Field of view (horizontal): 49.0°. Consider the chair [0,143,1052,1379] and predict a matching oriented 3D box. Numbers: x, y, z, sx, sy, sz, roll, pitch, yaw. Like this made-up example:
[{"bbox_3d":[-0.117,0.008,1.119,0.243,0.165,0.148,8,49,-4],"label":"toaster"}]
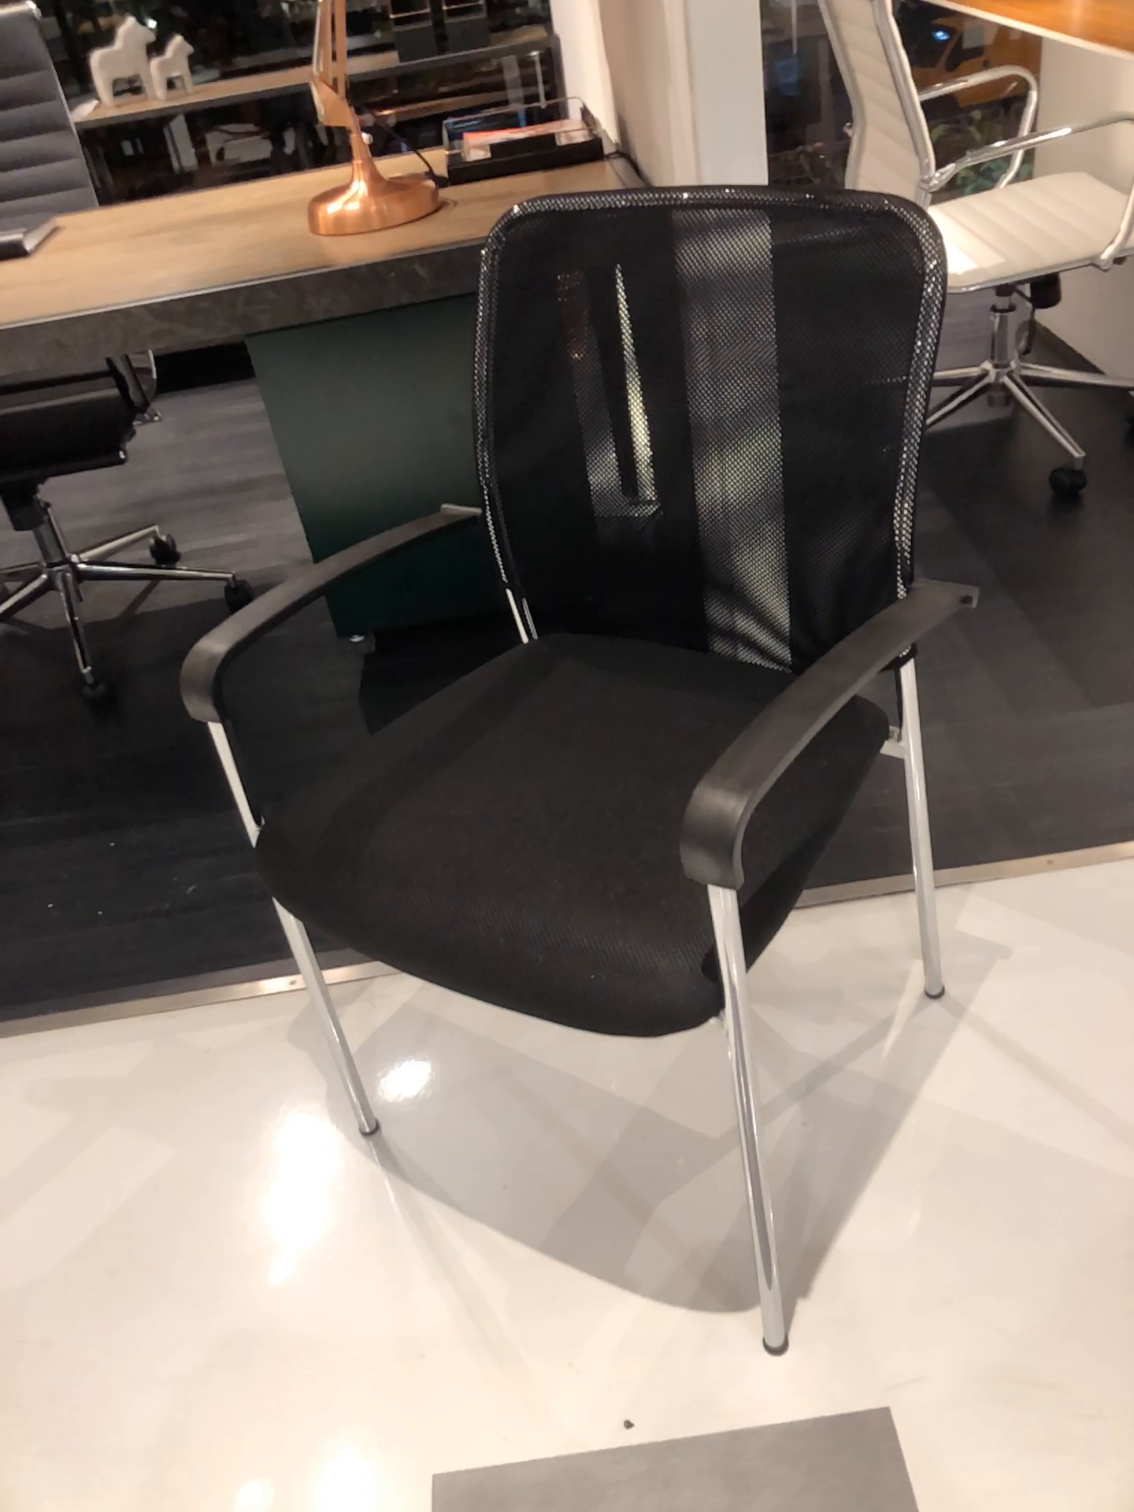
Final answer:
[{"bbox_3d":[0.032,-0.020,1.139,0.592,0.864,0.512,15,42,31],"label":"chair"}]
